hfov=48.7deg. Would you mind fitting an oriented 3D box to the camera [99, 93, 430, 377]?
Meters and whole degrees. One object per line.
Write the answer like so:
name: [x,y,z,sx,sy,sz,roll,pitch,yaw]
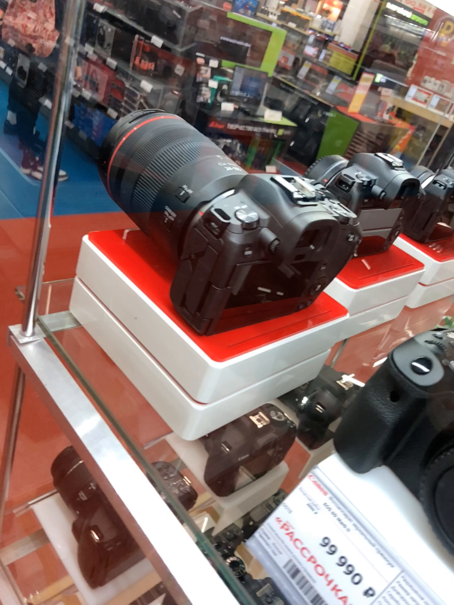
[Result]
camera: [0.019,-0.062,0.383,0.141,0.110,0.184,-13,45,-43]
